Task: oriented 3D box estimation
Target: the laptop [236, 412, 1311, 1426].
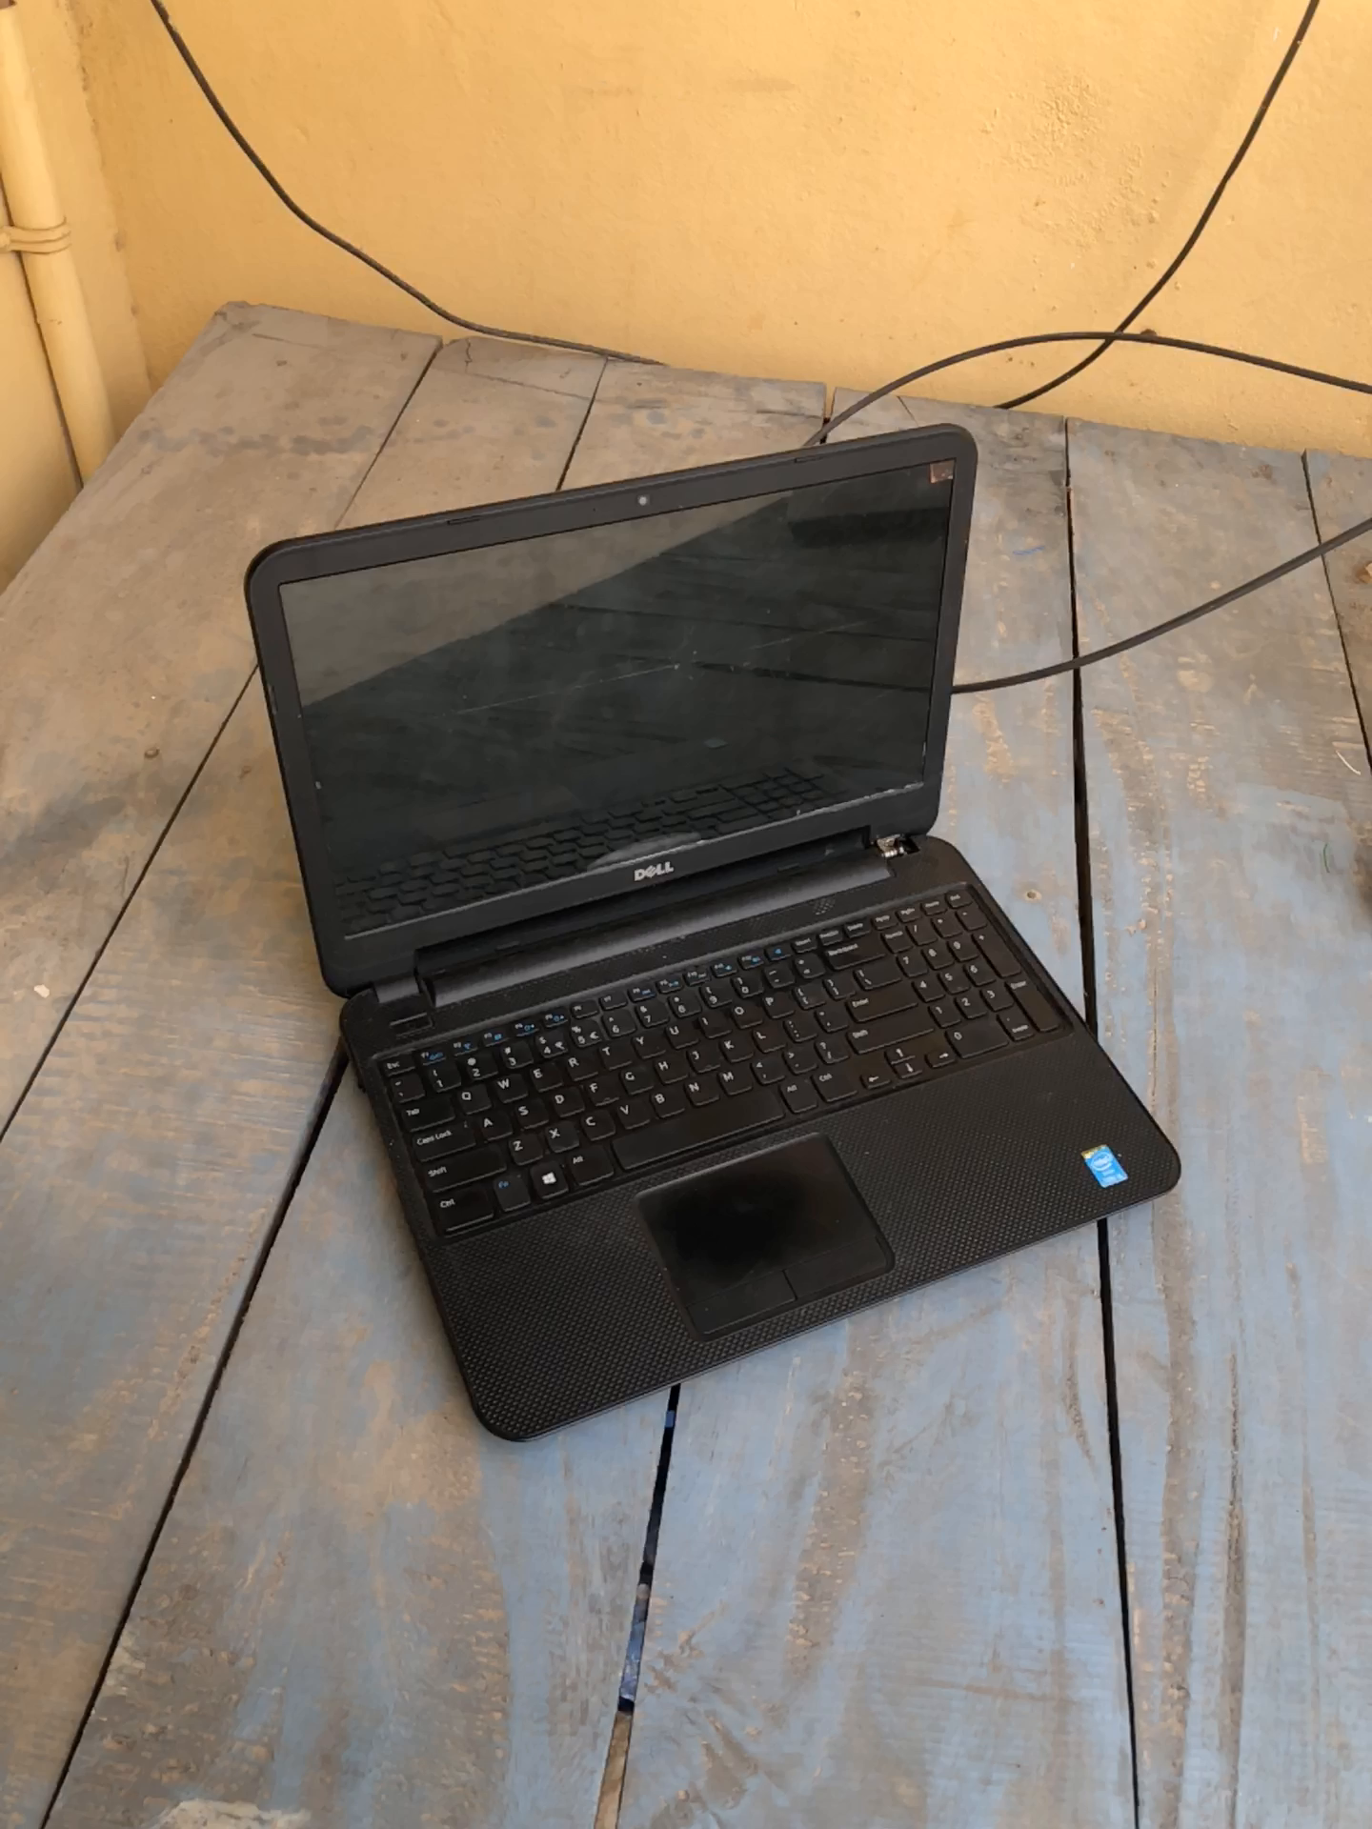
[{"bbox_3d":[0.017,-0.020,0.677,0.331,0.214,0.308,-16,52,-18],"label":"laptop"}]
